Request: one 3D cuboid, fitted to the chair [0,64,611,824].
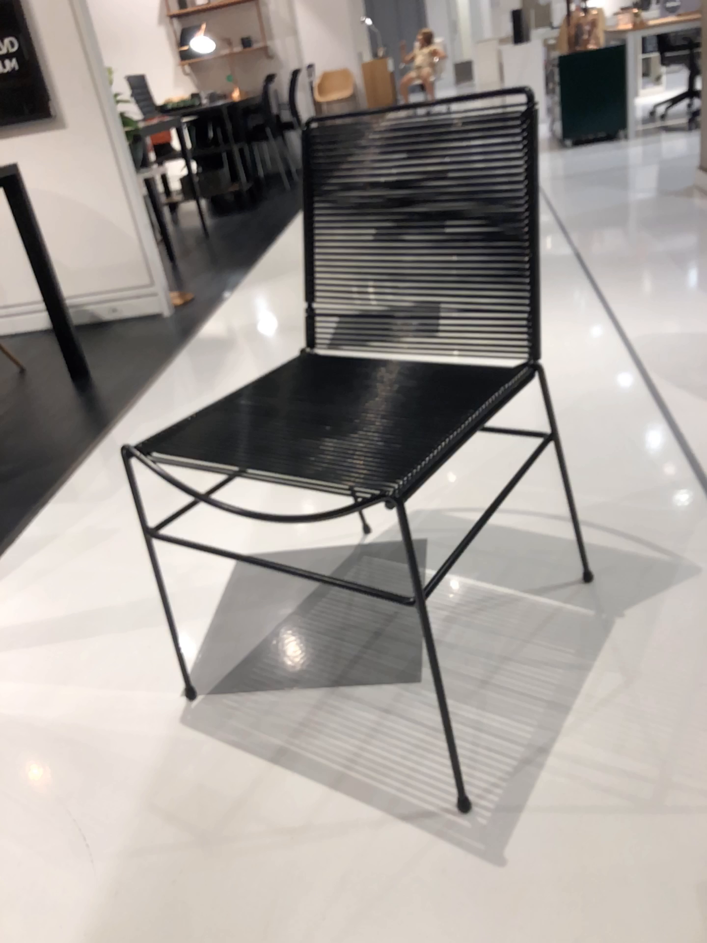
[{"bbox_3d":[0.015,-0.082,1.147,0.521,0.794,0.583,9,33,34],"label":"chair"}]
